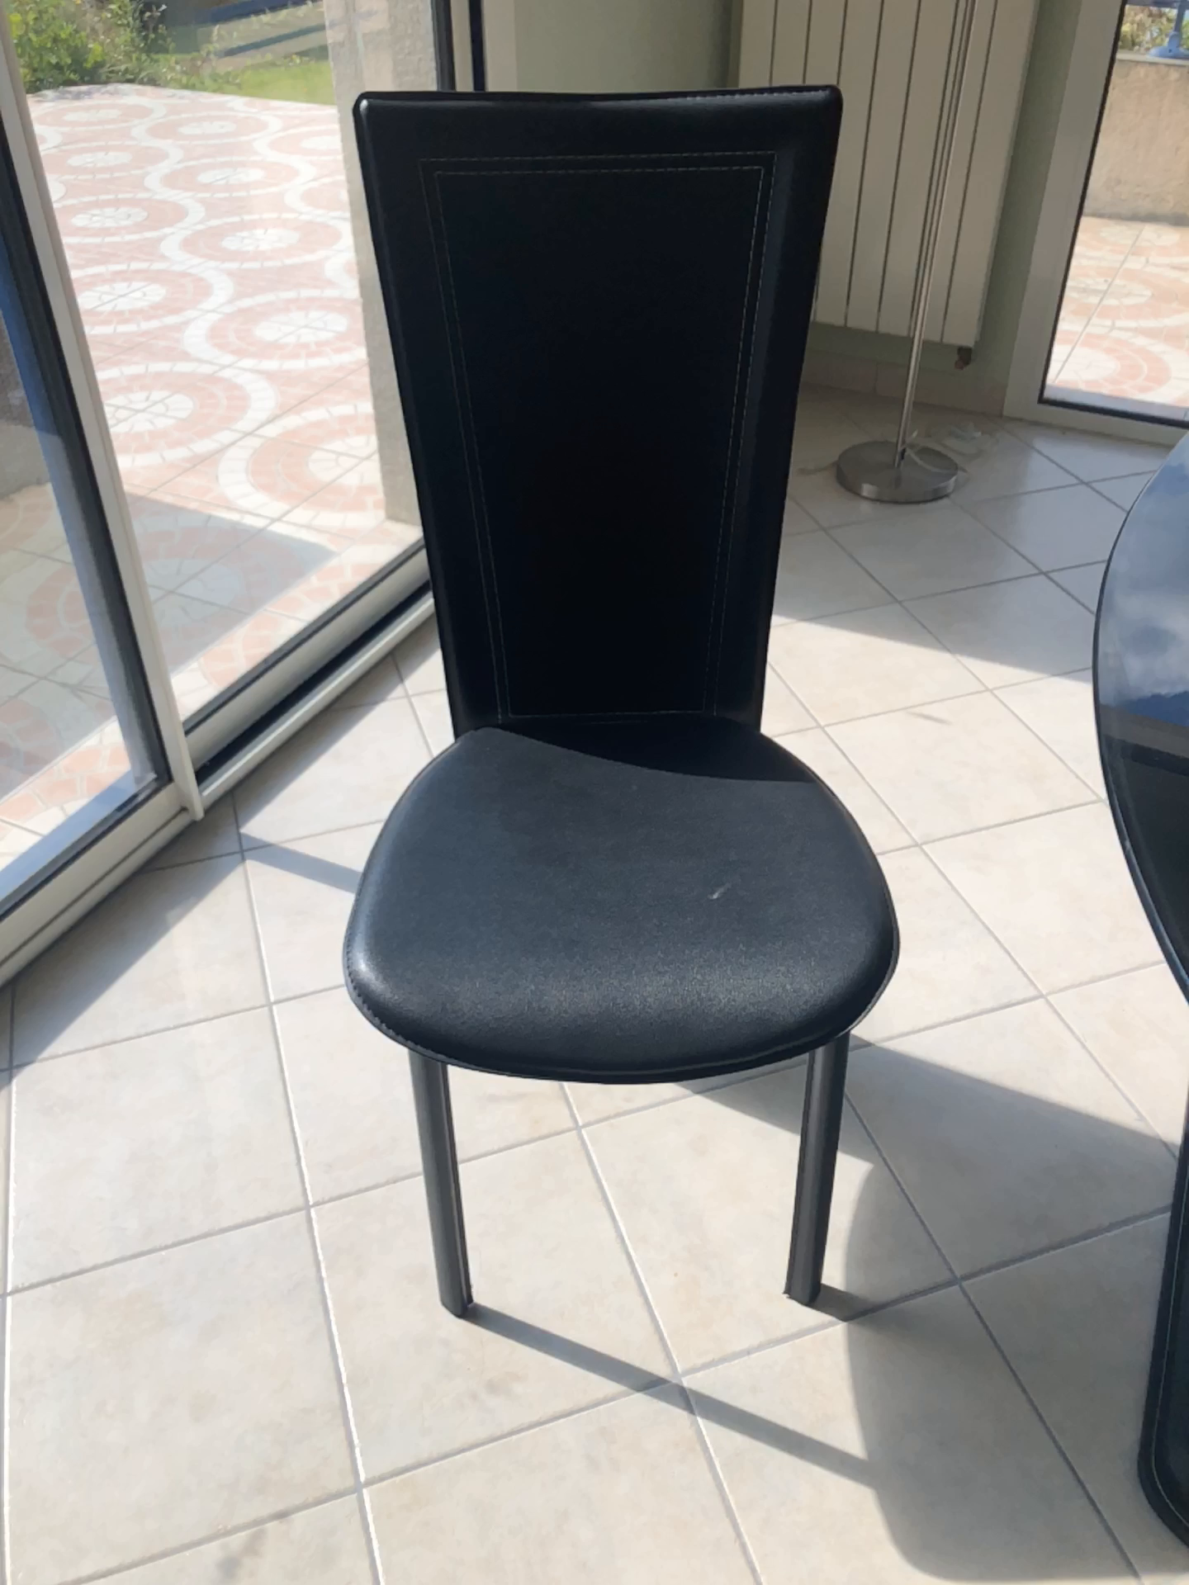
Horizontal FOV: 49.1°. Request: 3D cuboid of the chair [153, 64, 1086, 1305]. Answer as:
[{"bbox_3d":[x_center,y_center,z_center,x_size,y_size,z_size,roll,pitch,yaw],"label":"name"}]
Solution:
[{"bbox_3d":[0.010,-0.064,1.094,0.450,0.894,0.503,-2,36,-1],"label":"chair"}]
